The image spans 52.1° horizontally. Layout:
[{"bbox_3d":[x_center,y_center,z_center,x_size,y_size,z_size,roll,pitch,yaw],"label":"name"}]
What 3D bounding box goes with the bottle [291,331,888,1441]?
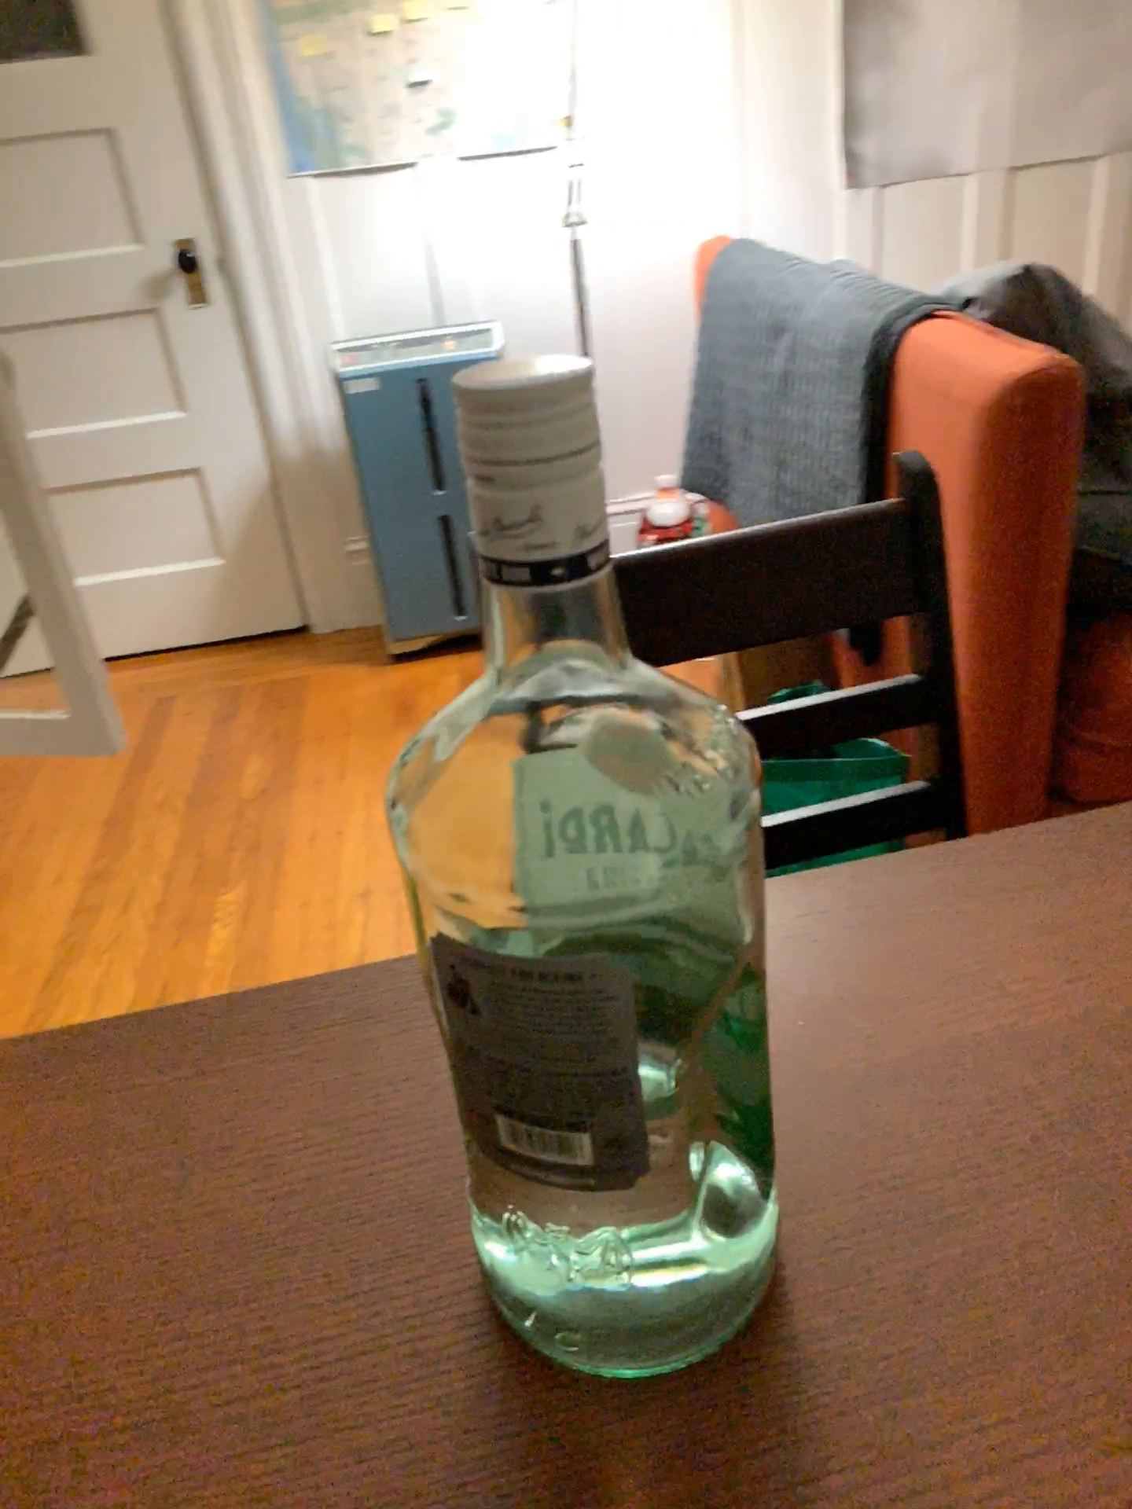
[{"bbox_3d":[0.030,0.050,0.374,0.120,0.328,0.120,-5,29,3],"label":"bottle"}]
